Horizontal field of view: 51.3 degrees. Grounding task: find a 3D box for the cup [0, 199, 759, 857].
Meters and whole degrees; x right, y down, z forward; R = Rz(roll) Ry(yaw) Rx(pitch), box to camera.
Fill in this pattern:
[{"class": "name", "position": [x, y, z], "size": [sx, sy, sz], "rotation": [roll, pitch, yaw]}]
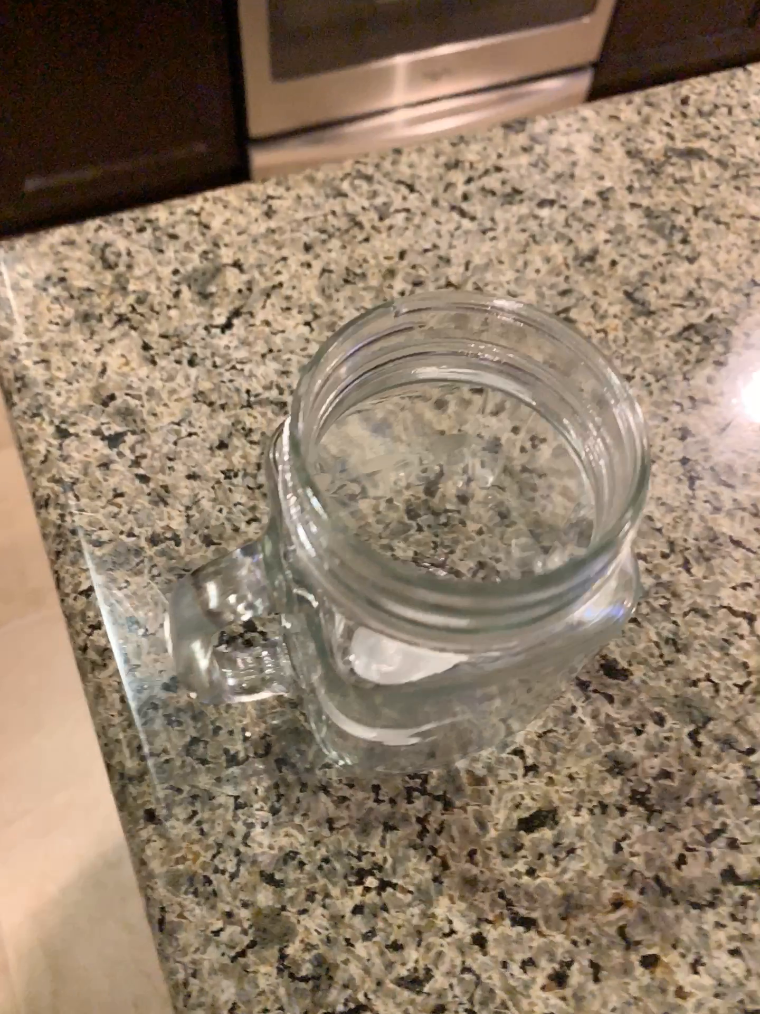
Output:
[{"class": "cup", "position": [-0.003, 0.013, 0.189], "size": [0.120, 0.119, 0.081], "rotation": [-17, 63, -13]}]
